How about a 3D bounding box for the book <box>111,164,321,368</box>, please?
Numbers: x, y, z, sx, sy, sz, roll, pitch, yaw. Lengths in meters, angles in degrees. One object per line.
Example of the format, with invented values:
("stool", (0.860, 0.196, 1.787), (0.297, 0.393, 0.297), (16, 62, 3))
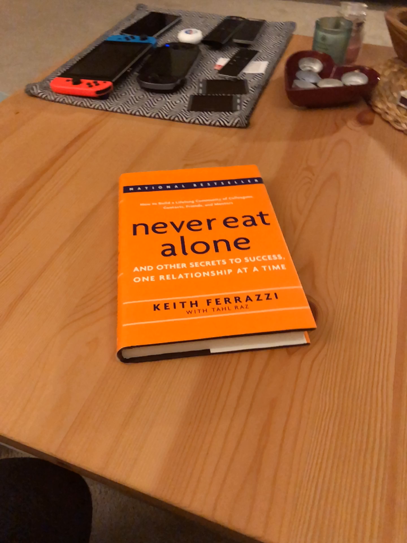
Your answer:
("book", (-0.003, -0.024, 0.445), (0.166, 0.025, 0.241), (-5, 46, -5))
